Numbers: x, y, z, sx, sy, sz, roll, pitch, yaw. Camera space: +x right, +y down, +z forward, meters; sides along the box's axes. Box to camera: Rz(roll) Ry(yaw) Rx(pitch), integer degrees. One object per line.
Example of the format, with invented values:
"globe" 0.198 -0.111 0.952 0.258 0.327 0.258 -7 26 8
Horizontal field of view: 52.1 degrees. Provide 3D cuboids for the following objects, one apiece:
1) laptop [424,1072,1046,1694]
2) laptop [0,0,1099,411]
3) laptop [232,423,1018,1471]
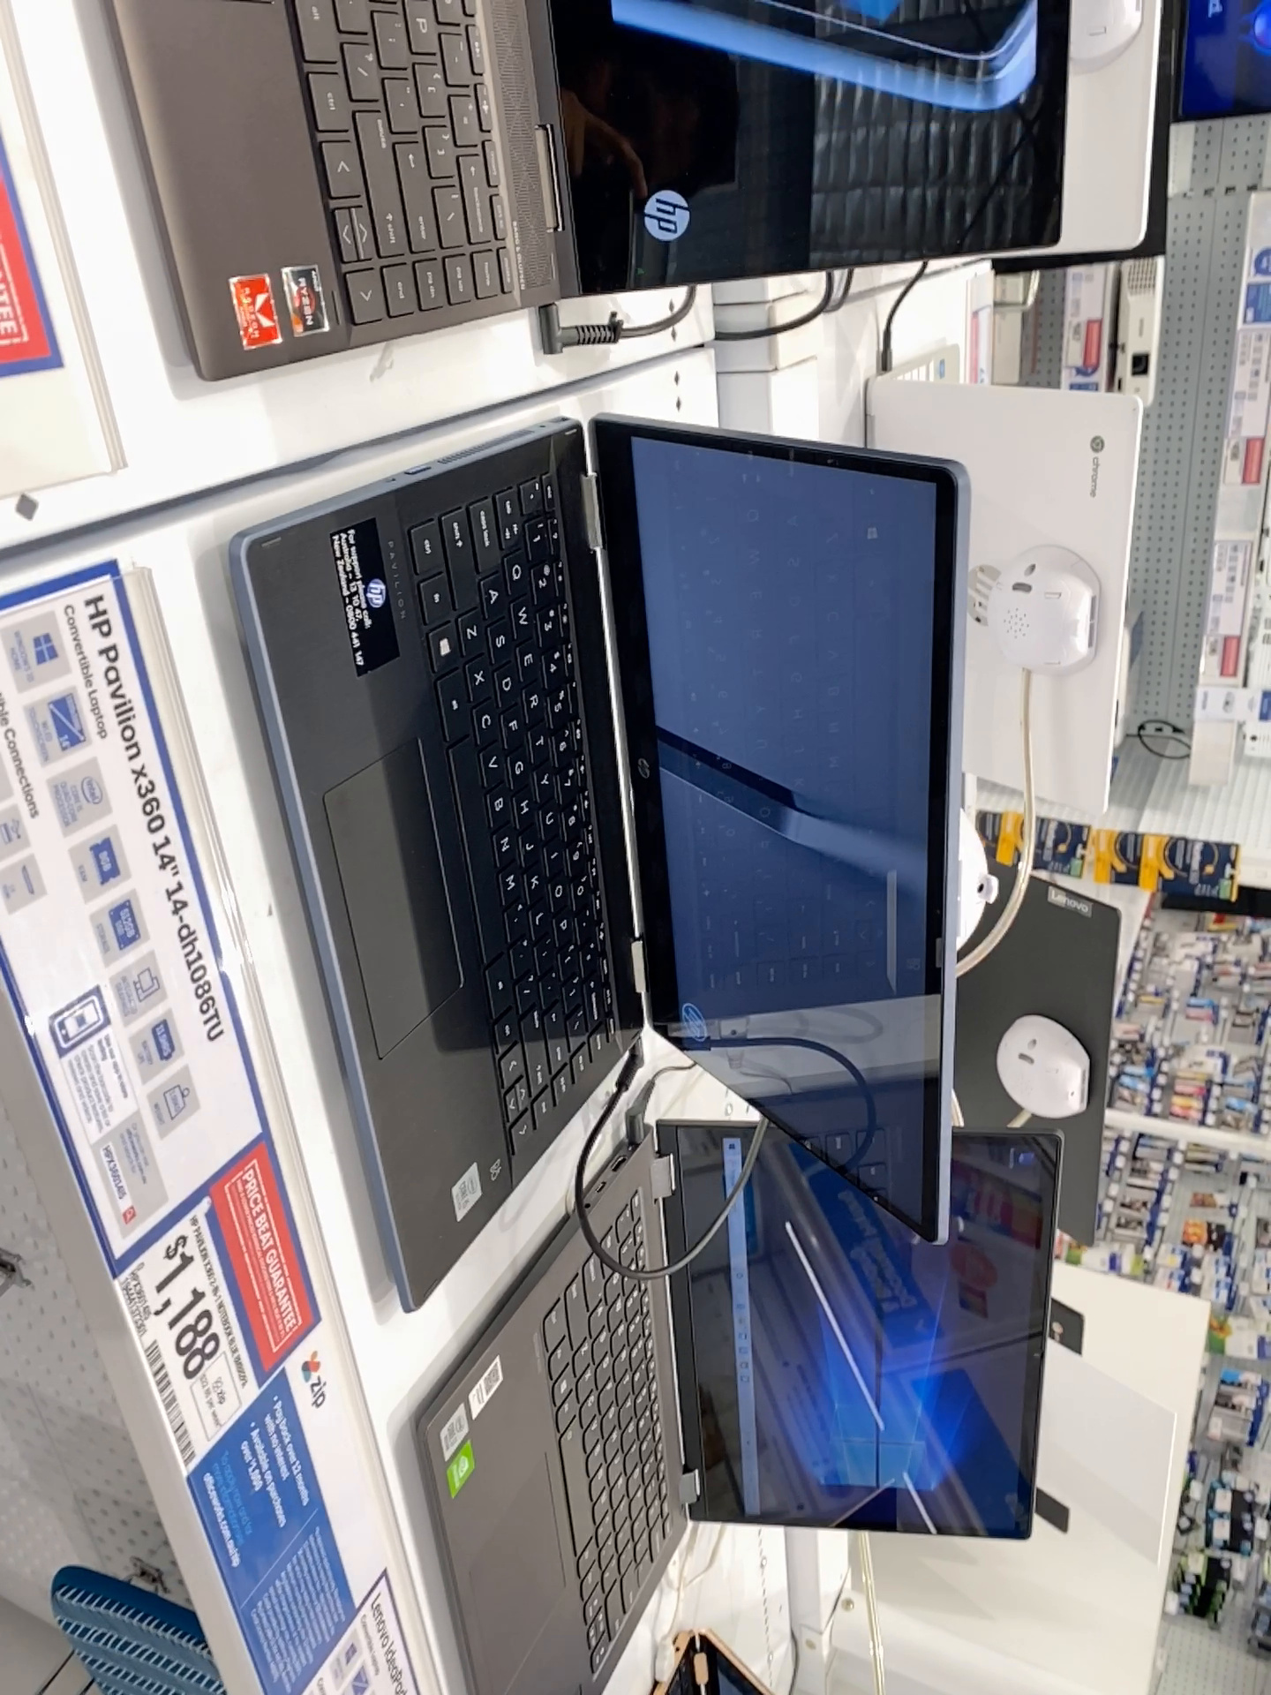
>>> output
"laptop" 0.080 0.348 0.693 0.295 0.199 0.306 -40 131 -53
"laptop" 0.009 -0.333 0.392 0.325 0.173 0.326 -41 131 -50
"laptop" 0.023 0.019 0.506 0.211 0.189 0.314 -44 135 -51
